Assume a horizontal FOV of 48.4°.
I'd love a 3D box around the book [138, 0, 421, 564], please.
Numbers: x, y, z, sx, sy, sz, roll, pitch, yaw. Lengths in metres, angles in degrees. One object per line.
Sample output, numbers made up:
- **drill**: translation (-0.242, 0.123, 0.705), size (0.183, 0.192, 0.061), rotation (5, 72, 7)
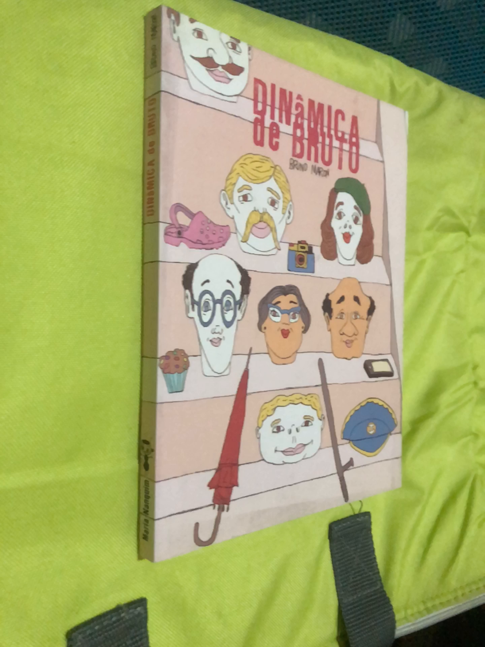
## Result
- **book**: translation (0.032, -0.020, 0.286), size (0.179, 0.020, 0.239), rotation (0, 90, -38)
